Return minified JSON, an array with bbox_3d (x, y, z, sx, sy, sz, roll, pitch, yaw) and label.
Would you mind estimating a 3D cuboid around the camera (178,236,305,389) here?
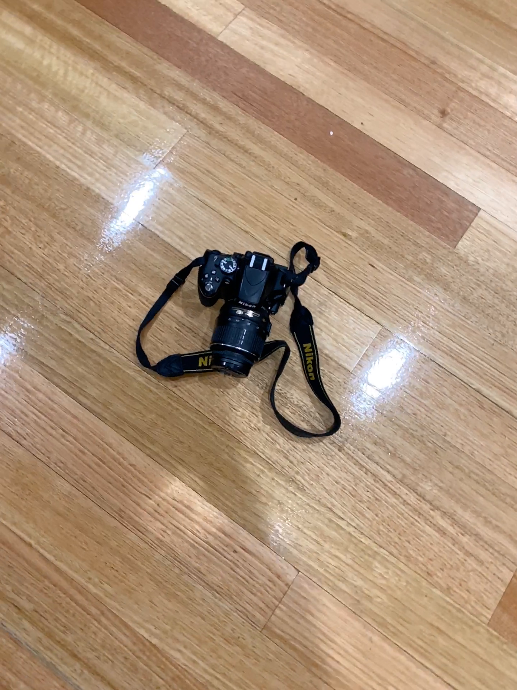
[{"bbox_3d":[-0.022,-0.040,0.716,0.130,0.100,0.160,12,74,0],"label":"camera"}]
